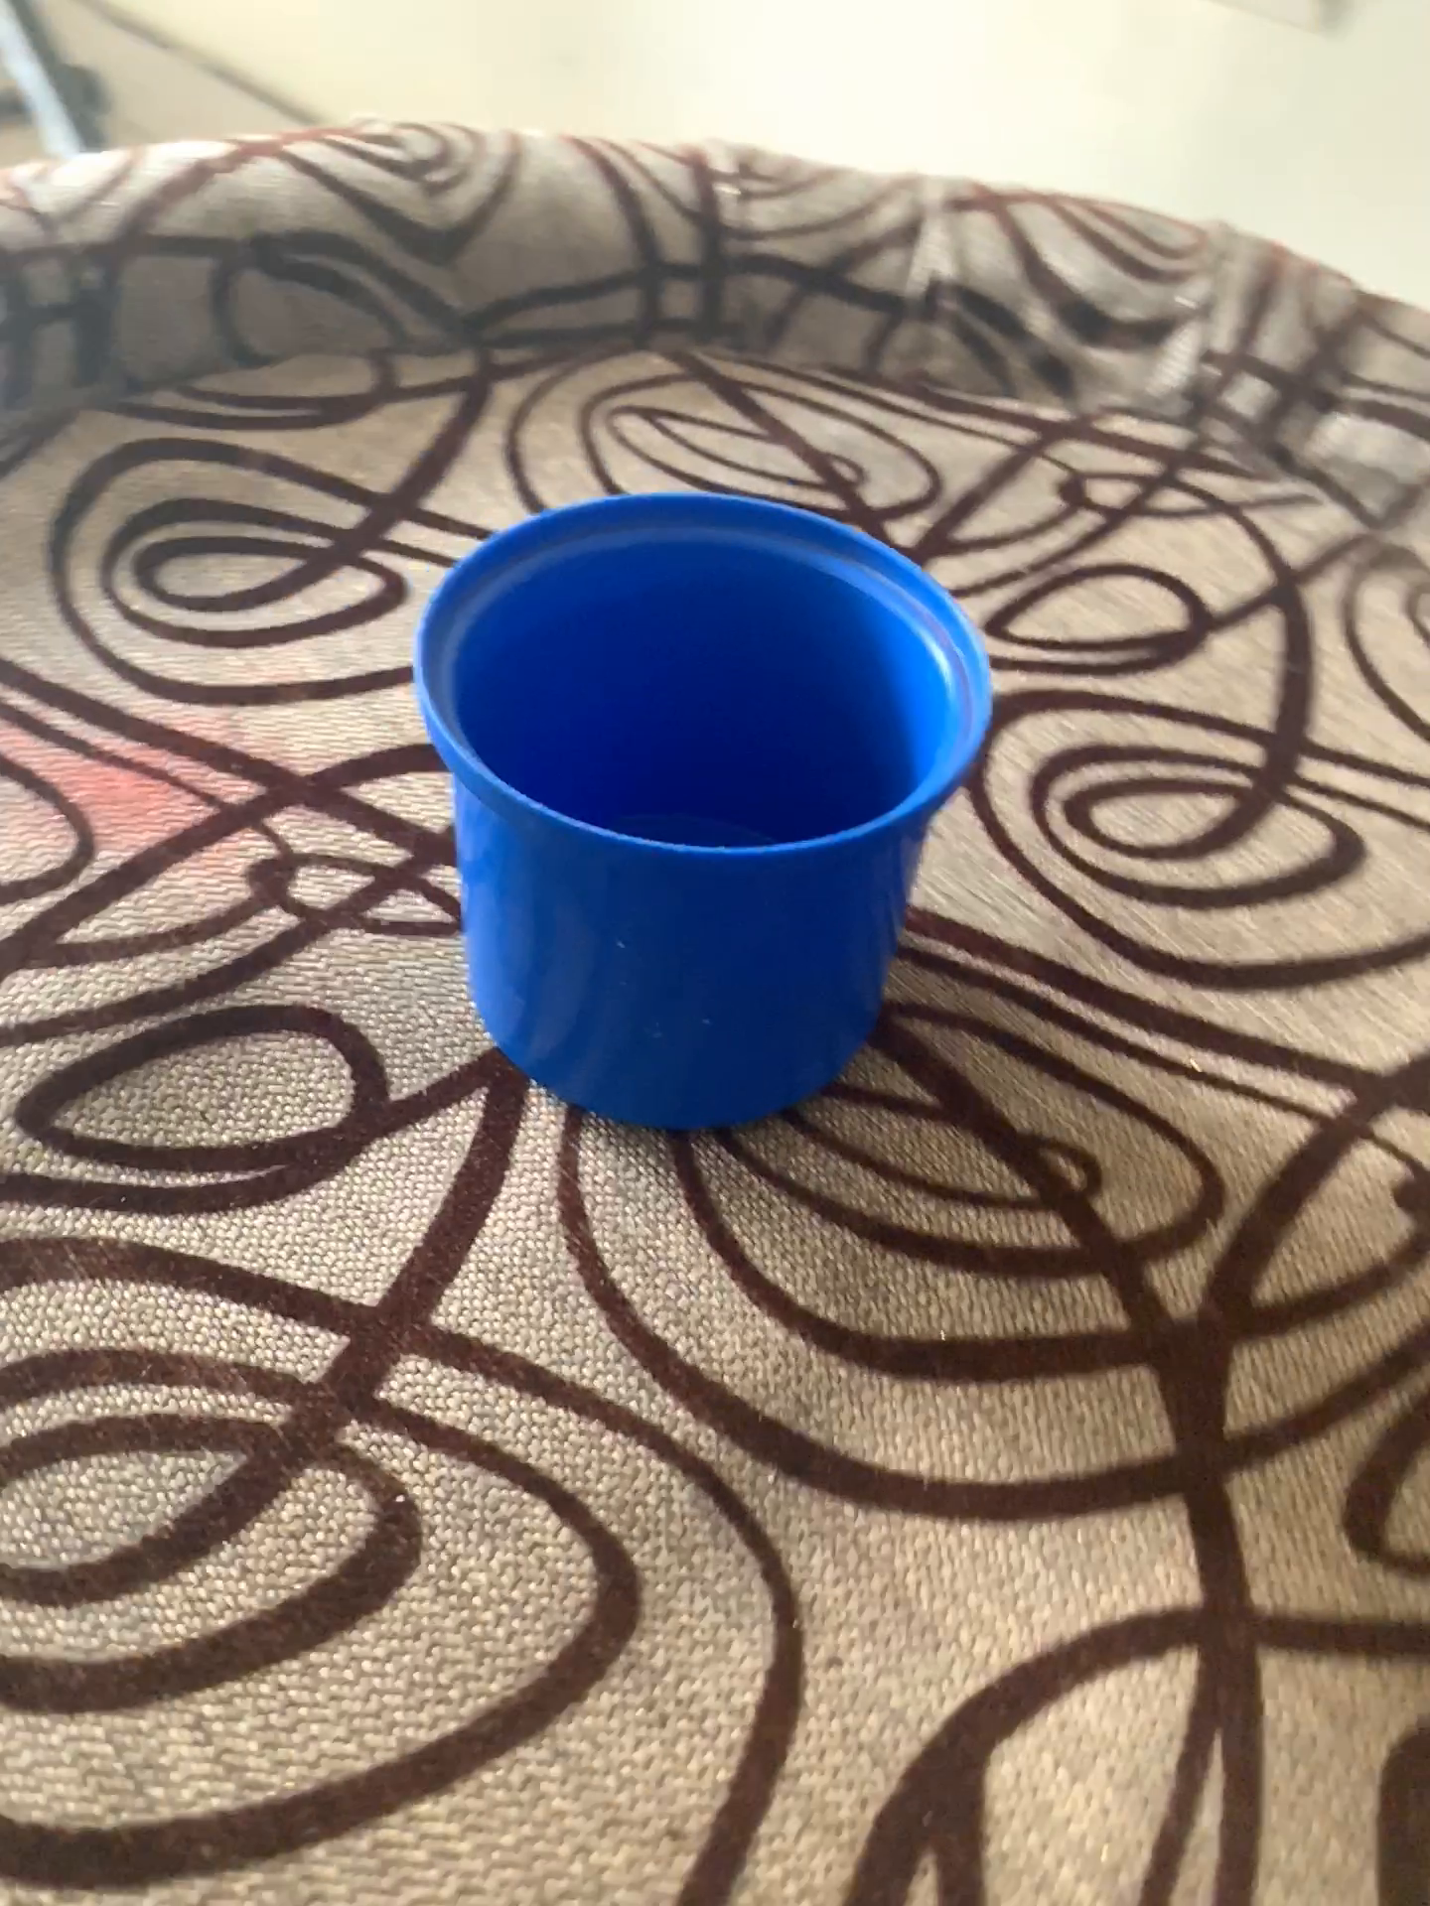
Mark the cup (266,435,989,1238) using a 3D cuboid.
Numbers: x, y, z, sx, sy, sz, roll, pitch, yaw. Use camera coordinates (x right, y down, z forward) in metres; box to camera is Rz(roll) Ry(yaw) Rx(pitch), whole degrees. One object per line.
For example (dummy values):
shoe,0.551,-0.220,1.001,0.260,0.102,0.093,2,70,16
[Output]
cup,-0.008,-0.018,0.220,0.080,0.069,0.081,4,49,-4
